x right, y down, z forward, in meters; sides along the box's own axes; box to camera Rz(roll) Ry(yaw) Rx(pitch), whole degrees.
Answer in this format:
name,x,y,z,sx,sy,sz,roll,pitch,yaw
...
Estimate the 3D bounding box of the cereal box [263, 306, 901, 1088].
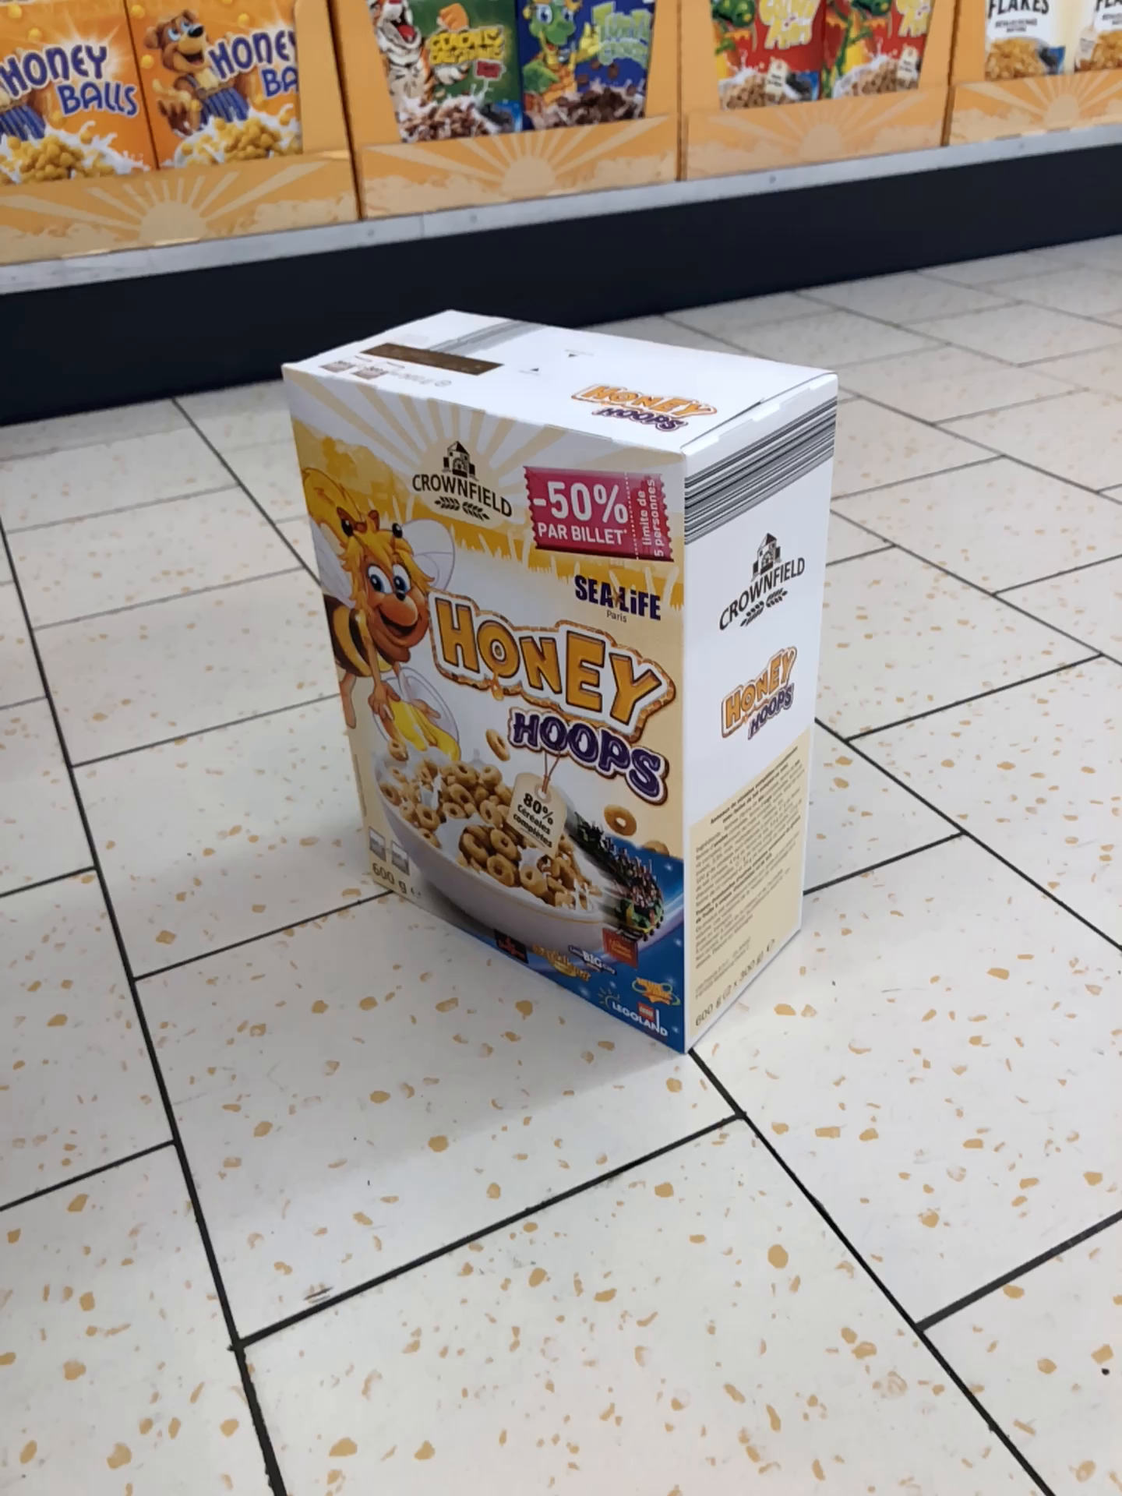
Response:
name,x,y,z,sx,sy,sz,roll,pitch,yaw
cereal box,0.006,-0.031,0.513,0.210,0.249,0.111,23,40,36
